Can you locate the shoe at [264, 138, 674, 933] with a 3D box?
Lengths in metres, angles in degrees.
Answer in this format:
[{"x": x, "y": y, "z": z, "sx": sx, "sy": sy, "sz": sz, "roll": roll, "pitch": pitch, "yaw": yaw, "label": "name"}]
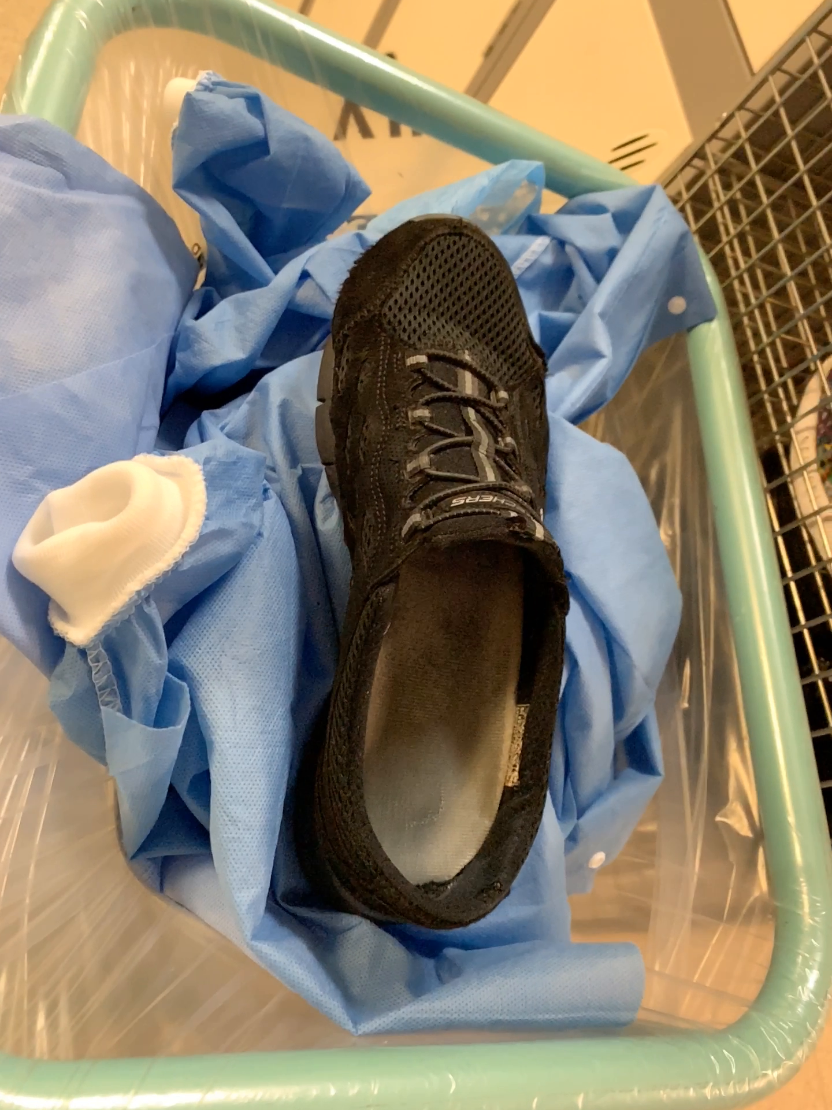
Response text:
[{"x": 0.009, "y": -0.005, "z": 0.309, "sx": 0.088, "sy": 0.094, "sz": 0.255, "roll": 11, "pitch": 64, "yaw": -26, "label": "shoe"}]
